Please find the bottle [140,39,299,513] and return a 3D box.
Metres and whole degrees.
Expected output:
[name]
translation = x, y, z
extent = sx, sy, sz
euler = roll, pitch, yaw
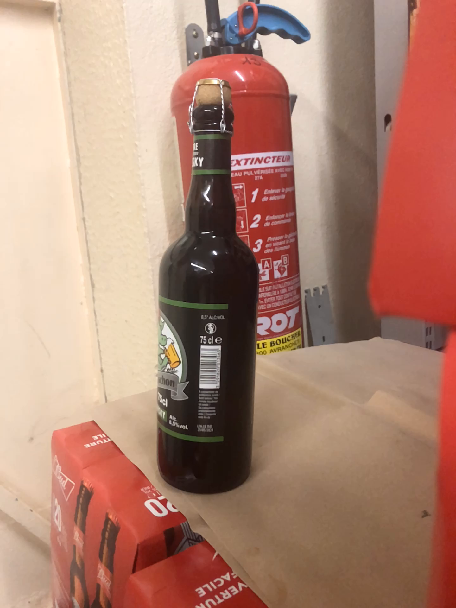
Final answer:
[bottle]
translation = -0.014, -0.016, 0.372
extent = 0.080, 0.299, 0.090
euler = -1, 9, -21
